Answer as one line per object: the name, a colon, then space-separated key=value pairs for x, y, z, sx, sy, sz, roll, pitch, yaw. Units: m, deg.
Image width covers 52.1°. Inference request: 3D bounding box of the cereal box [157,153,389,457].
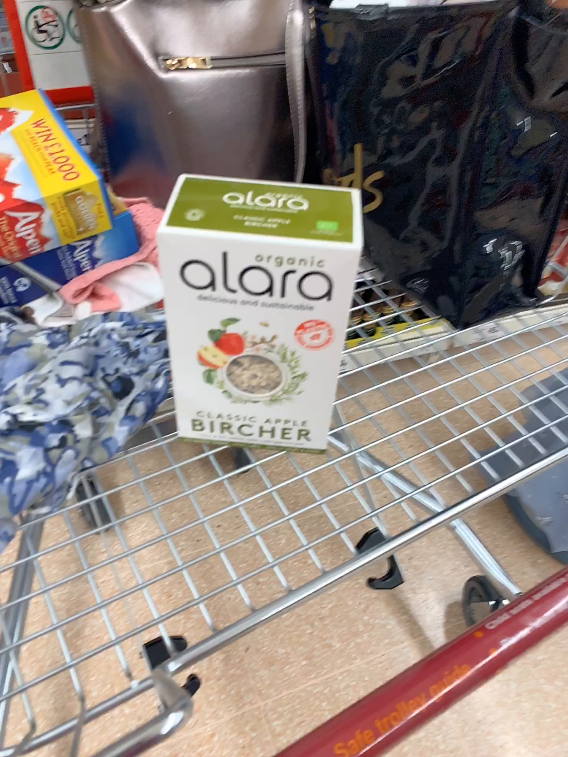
cereal box: x=-0.010 y=-0.040 z=0.390 sx=0.120 sy=0.178 sz=0.081 roll=6 pitch=45 yaw=-1
